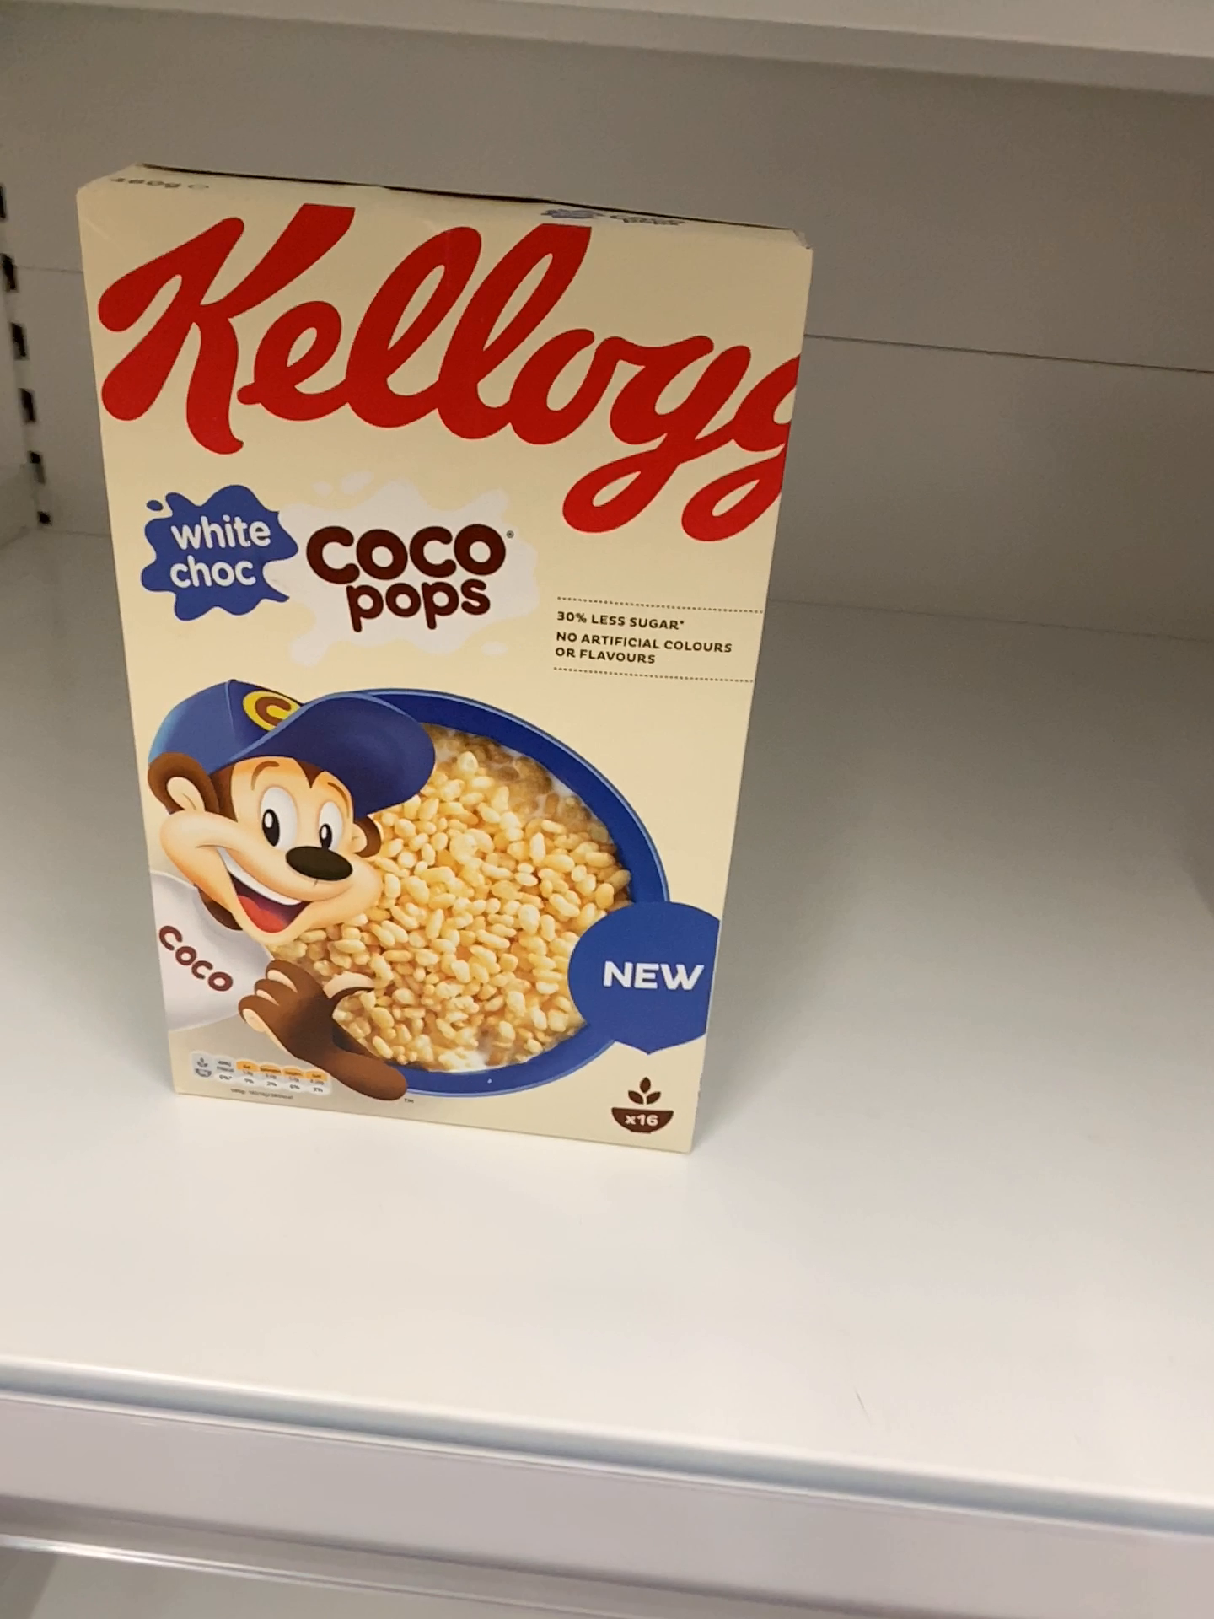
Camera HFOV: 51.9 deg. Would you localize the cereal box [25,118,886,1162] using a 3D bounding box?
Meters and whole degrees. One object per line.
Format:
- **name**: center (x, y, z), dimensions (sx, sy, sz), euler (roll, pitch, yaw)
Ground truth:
- **cereal box**: center (-0.046, -0.040, 0.397), dimensions (0.210, 0.297, 0.071), euler (6, 26, 3)
